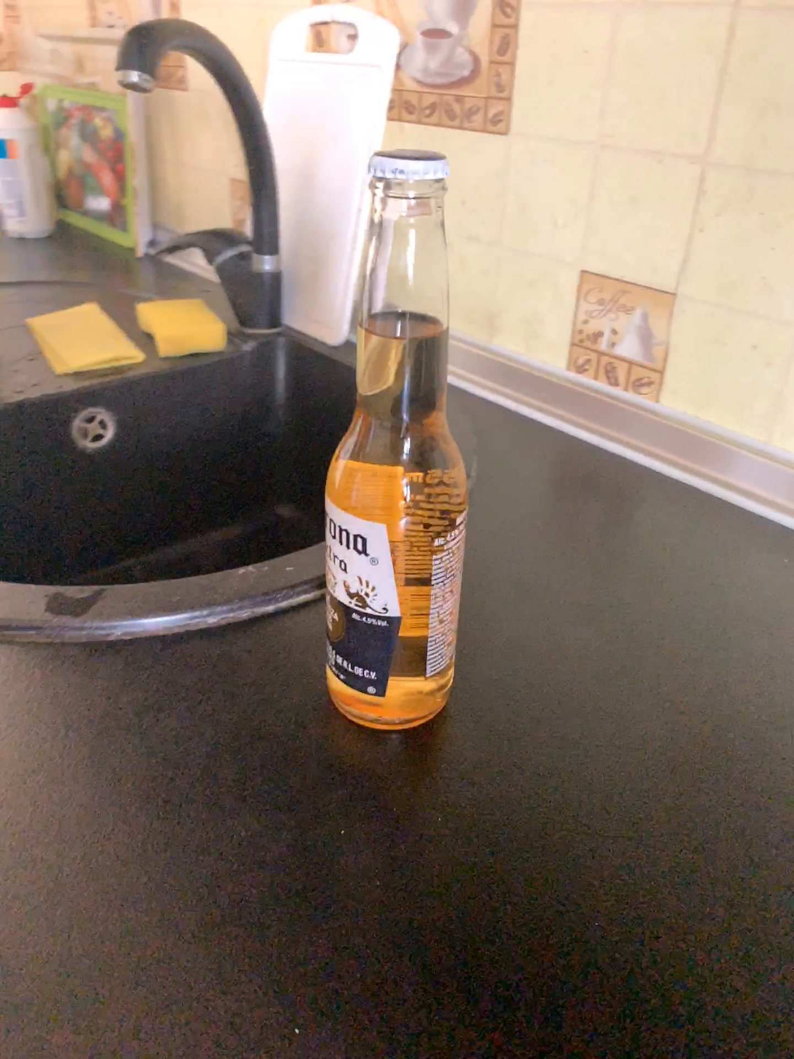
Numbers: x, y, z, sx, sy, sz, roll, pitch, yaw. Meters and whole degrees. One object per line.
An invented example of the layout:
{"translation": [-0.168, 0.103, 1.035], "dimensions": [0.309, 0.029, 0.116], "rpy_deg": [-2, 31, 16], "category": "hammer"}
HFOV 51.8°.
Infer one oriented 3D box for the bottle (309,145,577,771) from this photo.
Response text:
{"translation": [0.010, -0.021, 0.345], "dimensions": [0.070, 0.249, 0.070], "rpy_deg": [1, 30, -1], "category": "bottle"}
